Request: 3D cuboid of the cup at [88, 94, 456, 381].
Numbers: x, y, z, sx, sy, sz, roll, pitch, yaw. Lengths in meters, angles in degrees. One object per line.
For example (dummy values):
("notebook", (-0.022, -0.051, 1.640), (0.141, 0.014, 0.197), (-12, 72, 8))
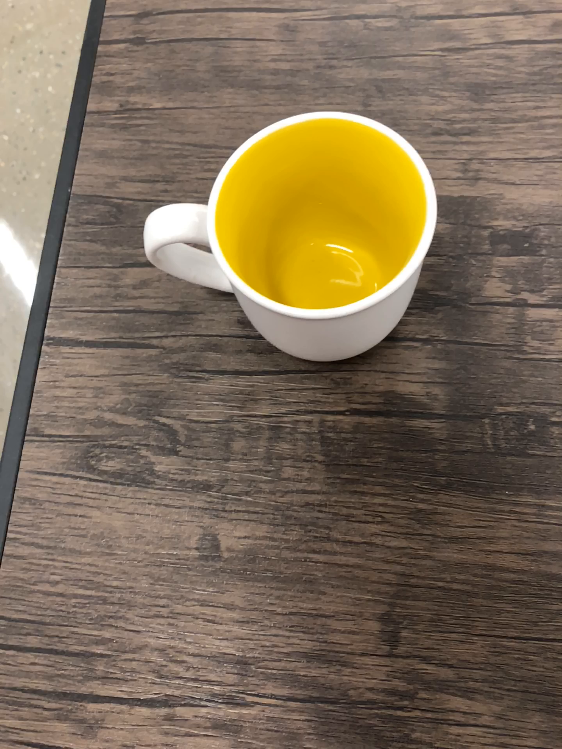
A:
("cup", (0.002, -0.056, 0.285), (0.130, 0.100, 0.080), (6, 74, 7))
